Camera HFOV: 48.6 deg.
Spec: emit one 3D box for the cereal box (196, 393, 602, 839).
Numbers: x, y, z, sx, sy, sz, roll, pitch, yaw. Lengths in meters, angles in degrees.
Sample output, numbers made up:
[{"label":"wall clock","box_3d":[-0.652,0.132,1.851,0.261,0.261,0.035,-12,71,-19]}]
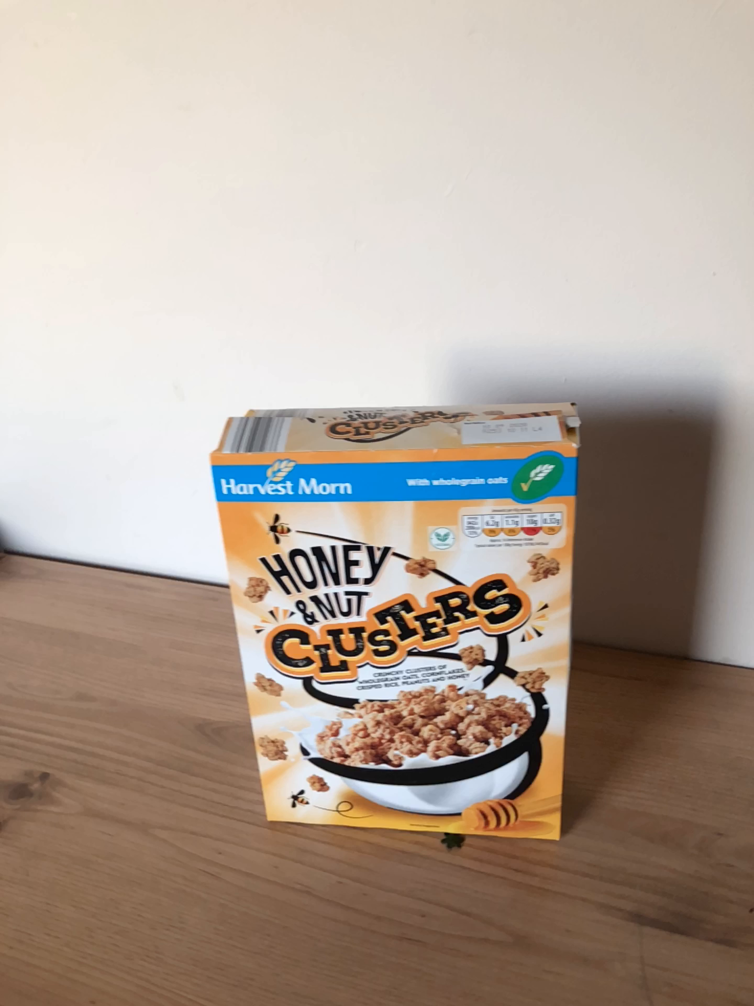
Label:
[{"label":"cereal box","box_3d":[0.019,0.069,0.475,0.190,0.248,0.070,0,27,8]}]
